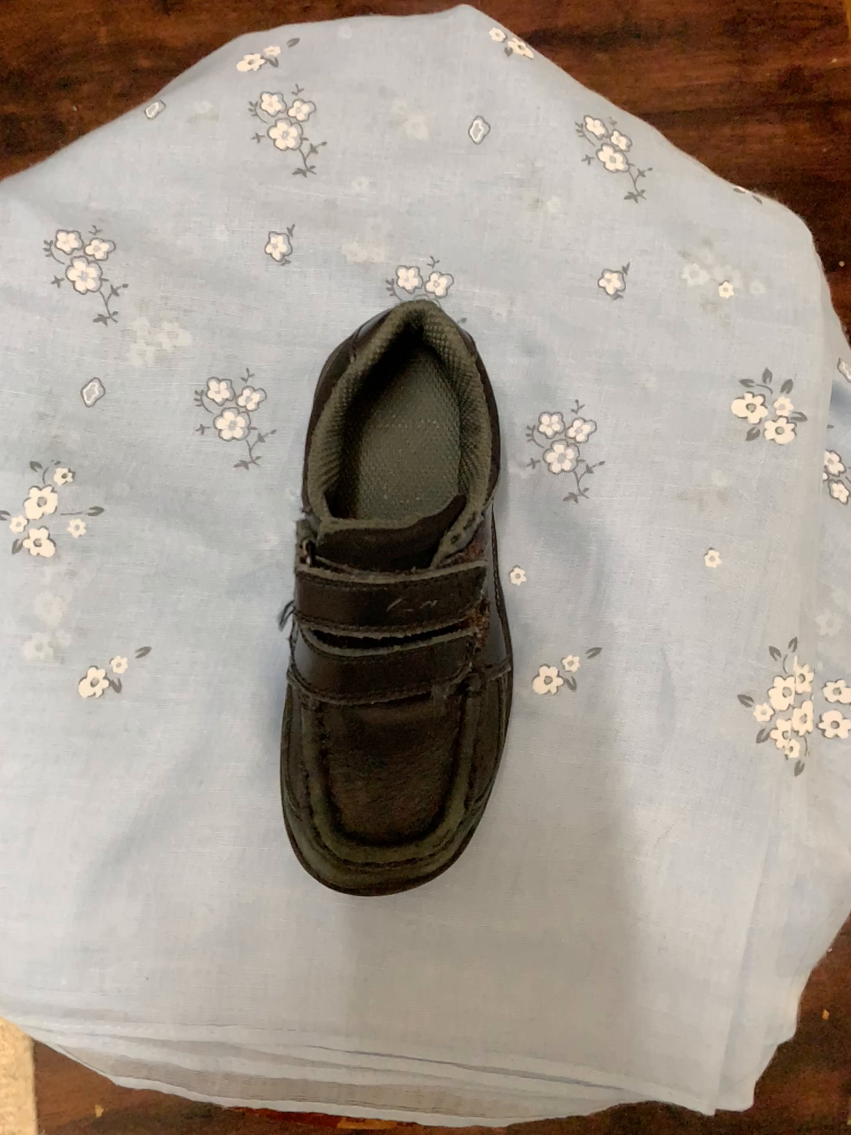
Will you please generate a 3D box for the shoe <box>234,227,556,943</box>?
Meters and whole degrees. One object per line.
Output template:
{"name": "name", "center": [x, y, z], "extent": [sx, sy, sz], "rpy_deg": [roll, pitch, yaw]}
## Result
{"name": "shoe", "center": [-0.008, 0.005, 0.270], "extent": [0.078, 0.073, 0.190], "rpy_deg": [3, 84, -3]}
